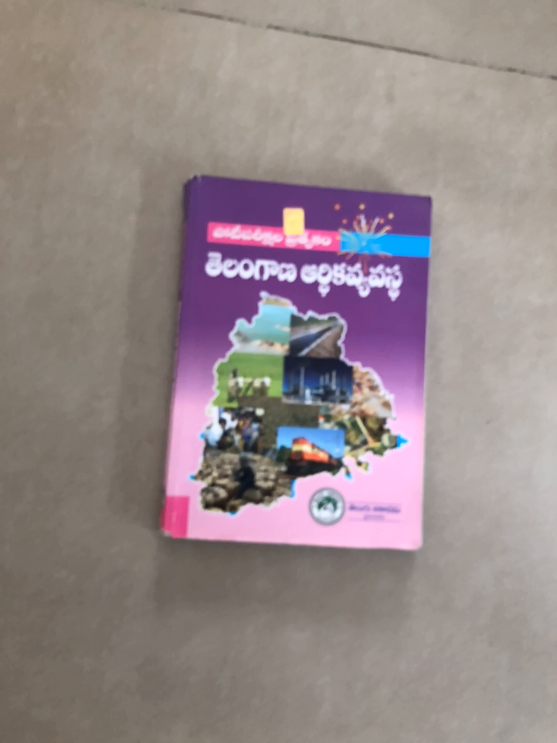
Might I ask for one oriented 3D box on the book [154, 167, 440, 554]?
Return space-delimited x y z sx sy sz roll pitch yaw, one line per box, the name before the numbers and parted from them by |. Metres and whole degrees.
book | 0.016 -0.007 0.474 0.191 0.040 0.268 4 86 -4
